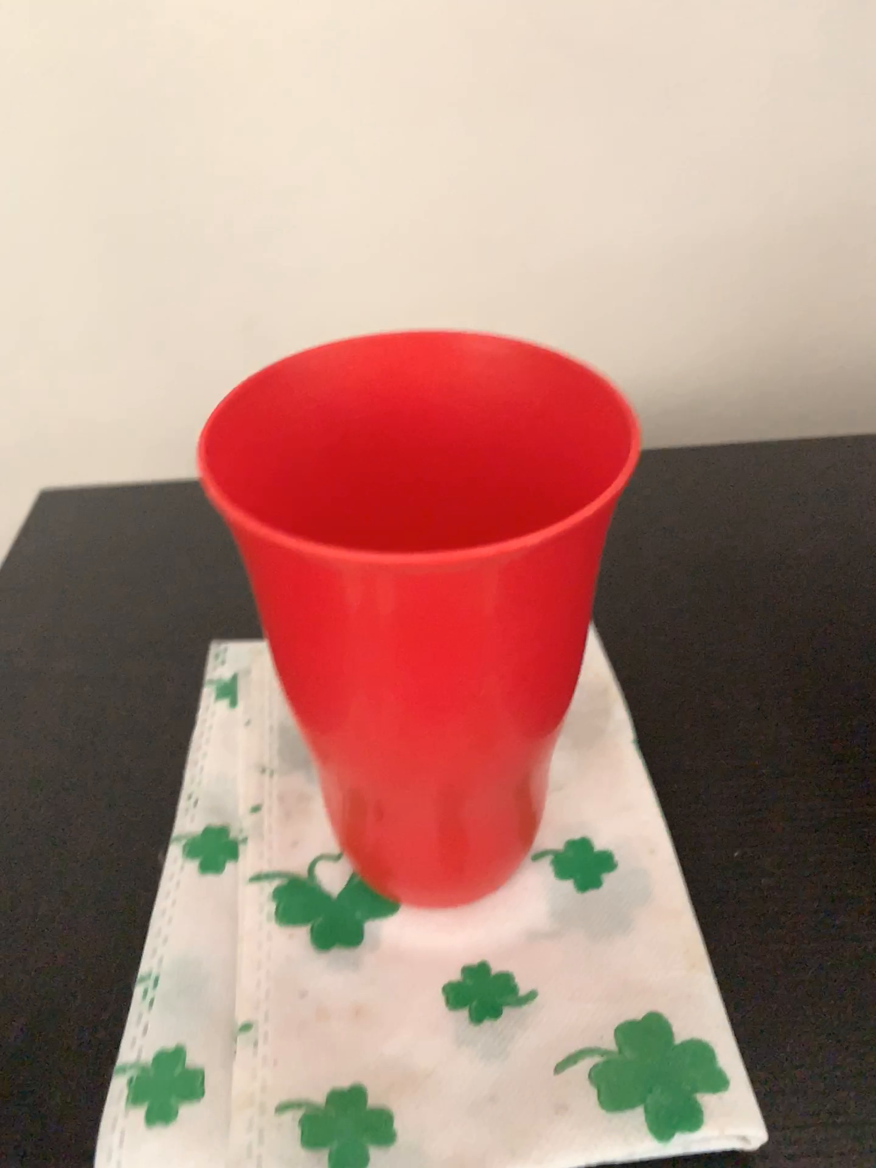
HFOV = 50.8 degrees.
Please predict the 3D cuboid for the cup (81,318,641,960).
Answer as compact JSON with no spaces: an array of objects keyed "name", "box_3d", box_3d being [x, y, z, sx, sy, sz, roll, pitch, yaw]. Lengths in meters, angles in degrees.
[{"name":"cup","box_3d":[-0.005,0.008,0.187,0.079,0.091,0.082,-1,38,1]}]
